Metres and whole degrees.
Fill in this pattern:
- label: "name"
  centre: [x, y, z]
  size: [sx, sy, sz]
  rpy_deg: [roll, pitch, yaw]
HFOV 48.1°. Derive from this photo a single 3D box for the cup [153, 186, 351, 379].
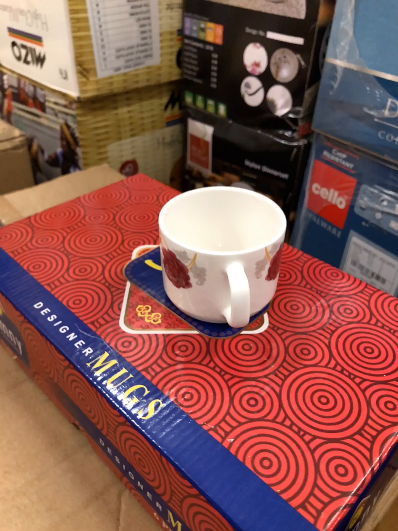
- label: "cup"
  centre: [0.020, 0.003, 0.252]
  size: [0.080, 0.050, 0.101]
  rpy_deg: [-5, 38, -10]
